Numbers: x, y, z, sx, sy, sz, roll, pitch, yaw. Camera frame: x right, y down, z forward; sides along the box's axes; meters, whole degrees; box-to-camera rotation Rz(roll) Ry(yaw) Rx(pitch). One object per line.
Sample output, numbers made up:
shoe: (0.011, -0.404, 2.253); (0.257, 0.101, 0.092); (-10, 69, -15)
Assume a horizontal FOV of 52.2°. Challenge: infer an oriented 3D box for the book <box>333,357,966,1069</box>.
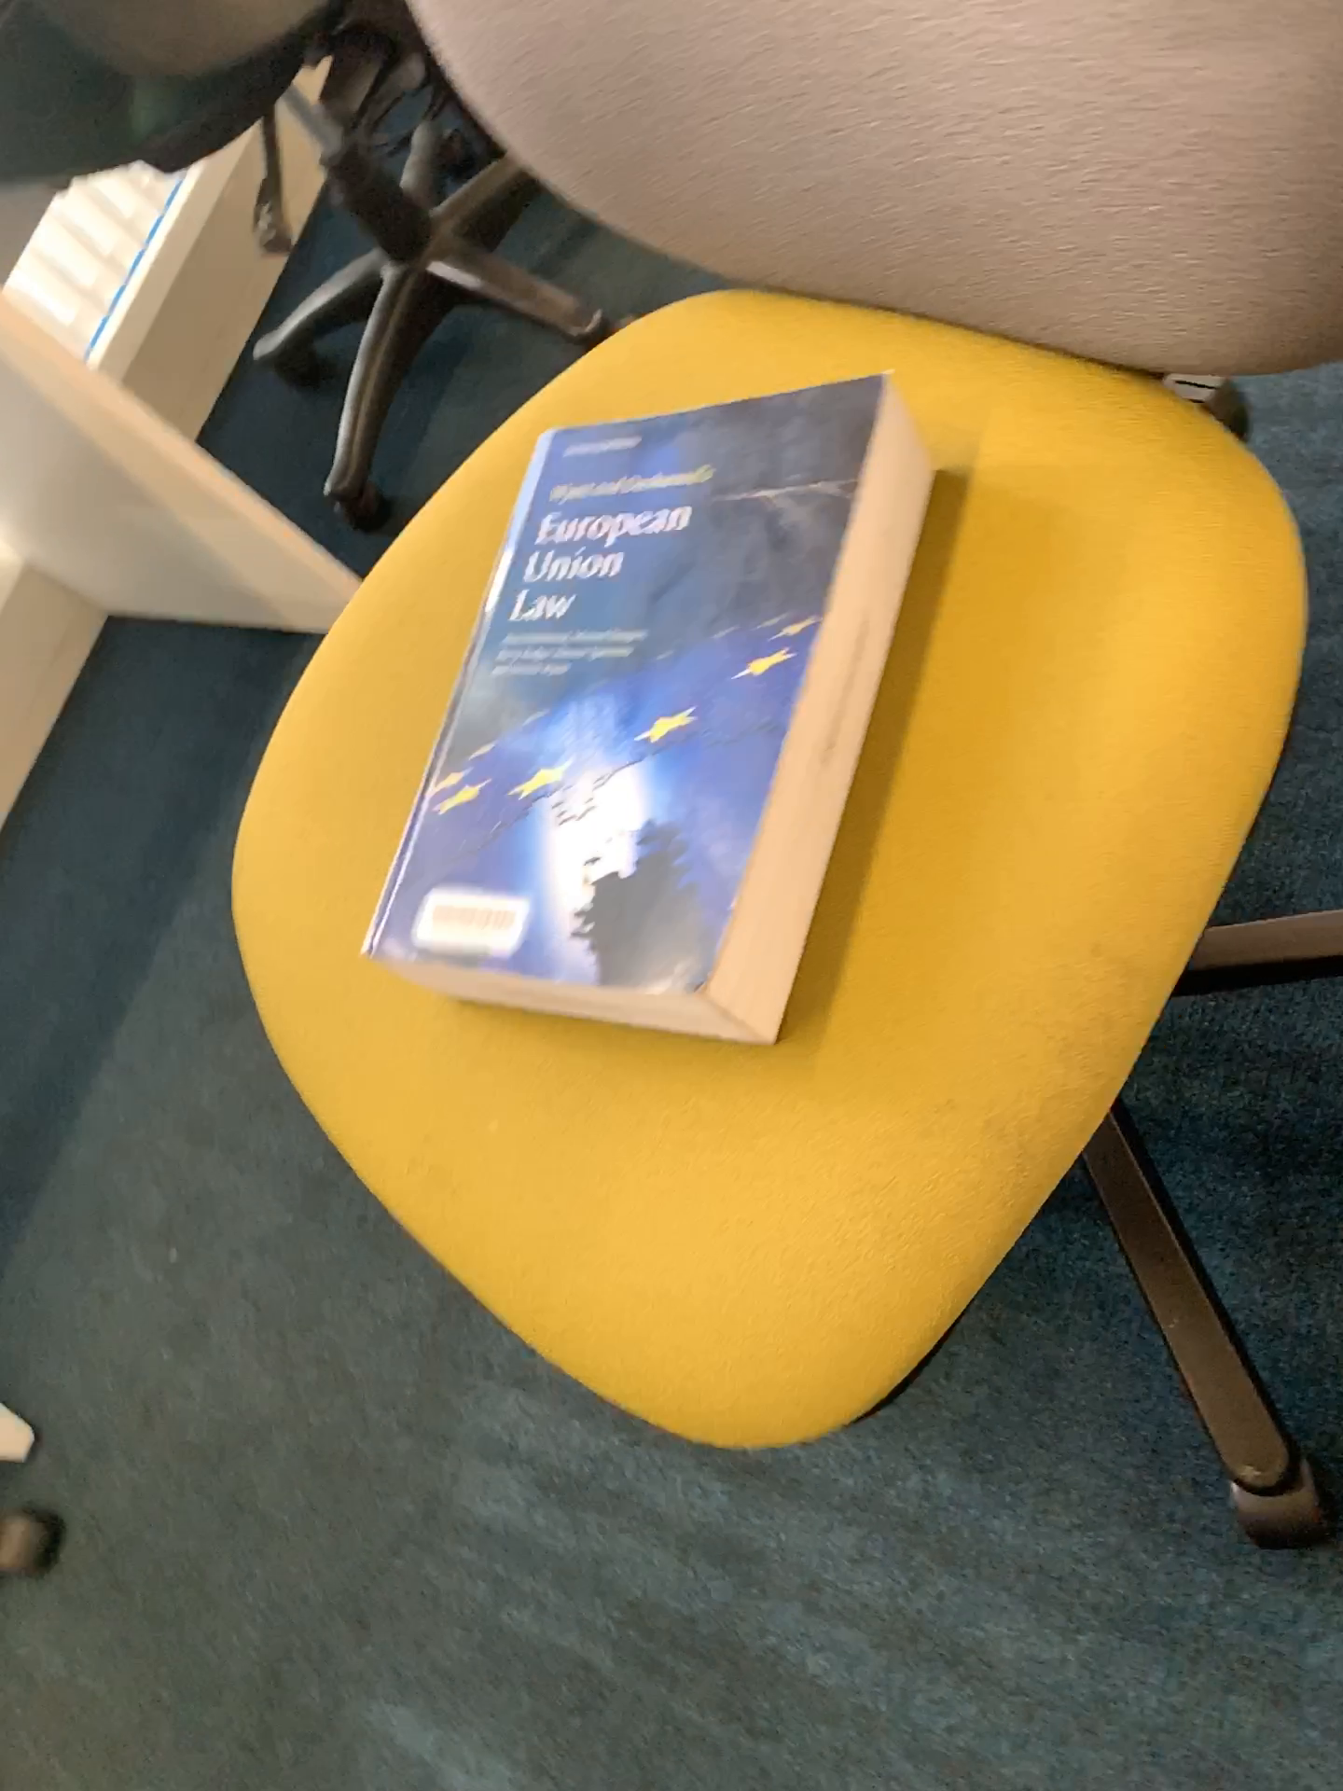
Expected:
book: (-0.007, -0.074, 0.534); (0.181, 0.060, 0.251); (5, 70, 35)
